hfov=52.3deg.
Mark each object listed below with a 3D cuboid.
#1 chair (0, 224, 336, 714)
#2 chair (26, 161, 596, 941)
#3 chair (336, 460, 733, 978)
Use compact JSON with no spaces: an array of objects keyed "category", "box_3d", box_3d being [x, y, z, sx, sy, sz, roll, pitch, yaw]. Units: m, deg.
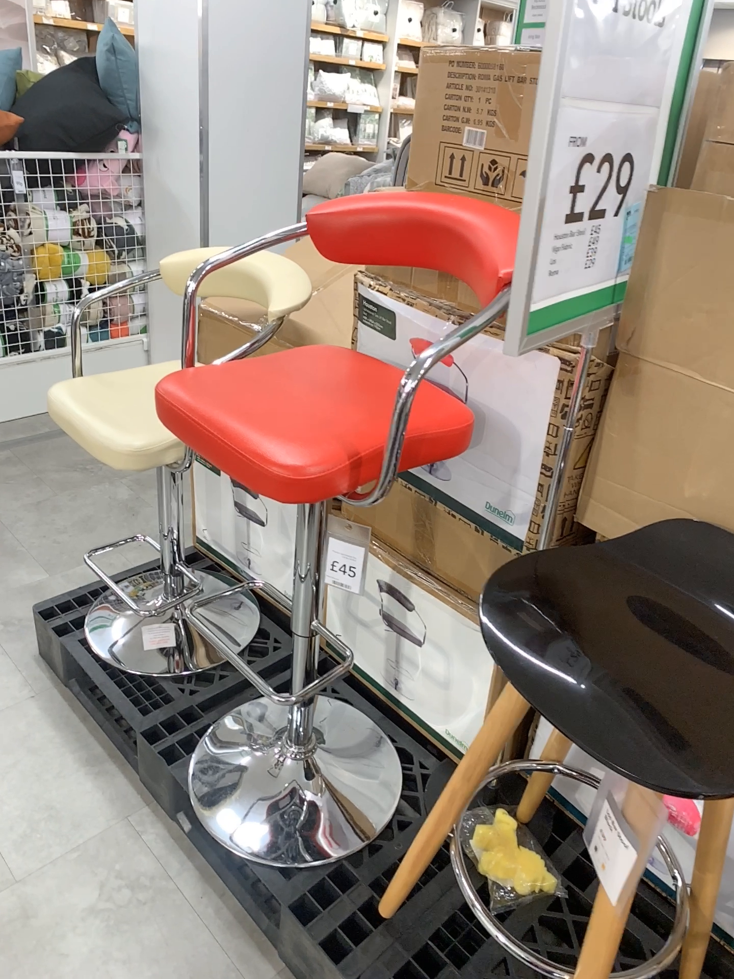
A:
[{"category":"chair","box_3d":[-0.435,-0.081,1.610,0.460,0.839,0.498,-19,37,-40]},{"category":"chair","box_3d":[-0.117,0.045,1.193,0.530,0.977,0.528,-19,37,-40]},{"category":"chair","box_3d":[0.270,0.406,1.005,0.390,0.710,0.428,-18,36,-39]}]
